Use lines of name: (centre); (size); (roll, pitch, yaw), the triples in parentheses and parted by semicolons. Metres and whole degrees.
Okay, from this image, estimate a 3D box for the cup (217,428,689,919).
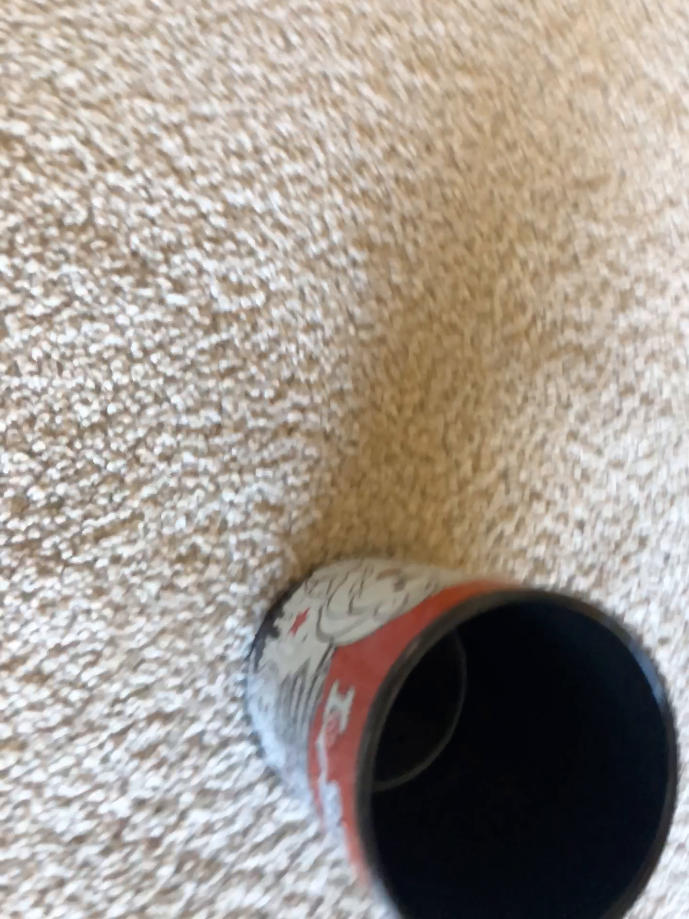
cup: (0.031, 0.068, 0.209); (0.090, 0.090, 0.130); (-11, 90, -22)
